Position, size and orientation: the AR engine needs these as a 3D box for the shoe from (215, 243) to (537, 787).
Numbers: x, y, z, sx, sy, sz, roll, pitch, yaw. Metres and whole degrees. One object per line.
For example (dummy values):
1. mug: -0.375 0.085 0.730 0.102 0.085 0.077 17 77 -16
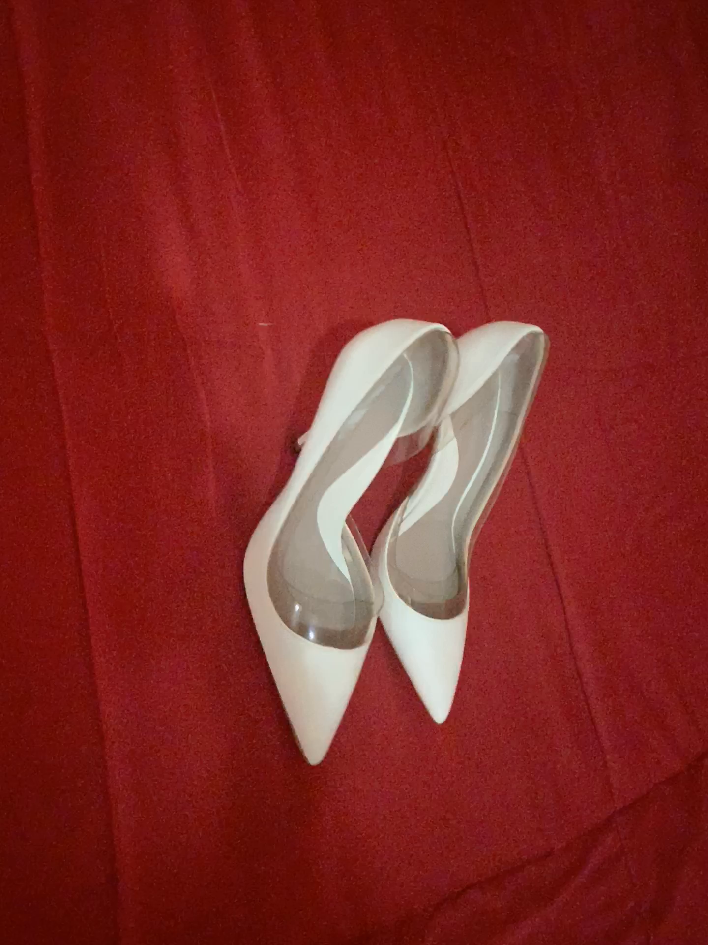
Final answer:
1. shoe: 0.002 0.030 0.391 0.098 0.136 0.243 10 68 -30

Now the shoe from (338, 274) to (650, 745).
1. shoe: 0.069 0.033 0.437 0.098 0.140 0.241 10 68 -30
